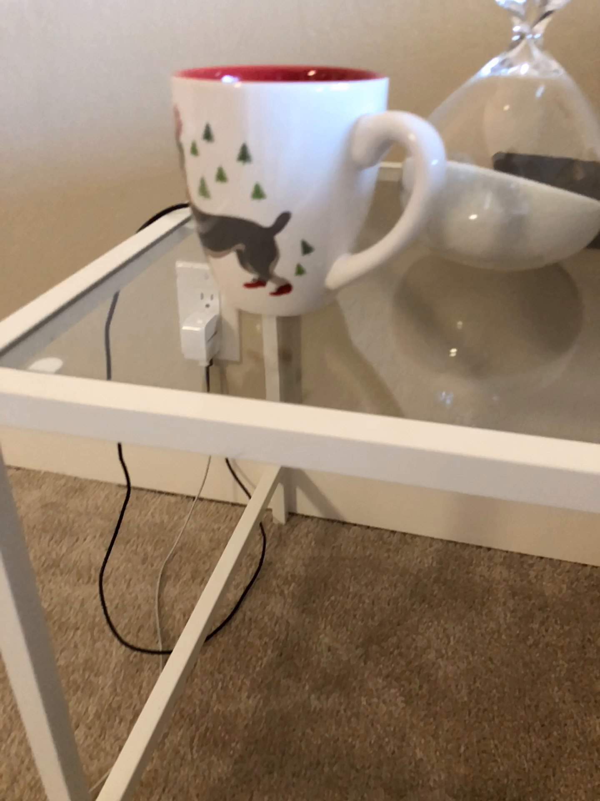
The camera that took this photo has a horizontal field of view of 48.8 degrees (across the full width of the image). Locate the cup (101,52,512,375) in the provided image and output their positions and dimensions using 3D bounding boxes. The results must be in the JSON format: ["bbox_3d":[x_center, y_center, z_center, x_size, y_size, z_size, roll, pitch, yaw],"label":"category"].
[{"bbox_3d":[0.000,-0.101,0.316,0.150,0.109,0.100,22,36,33],"label":"cup"}]
